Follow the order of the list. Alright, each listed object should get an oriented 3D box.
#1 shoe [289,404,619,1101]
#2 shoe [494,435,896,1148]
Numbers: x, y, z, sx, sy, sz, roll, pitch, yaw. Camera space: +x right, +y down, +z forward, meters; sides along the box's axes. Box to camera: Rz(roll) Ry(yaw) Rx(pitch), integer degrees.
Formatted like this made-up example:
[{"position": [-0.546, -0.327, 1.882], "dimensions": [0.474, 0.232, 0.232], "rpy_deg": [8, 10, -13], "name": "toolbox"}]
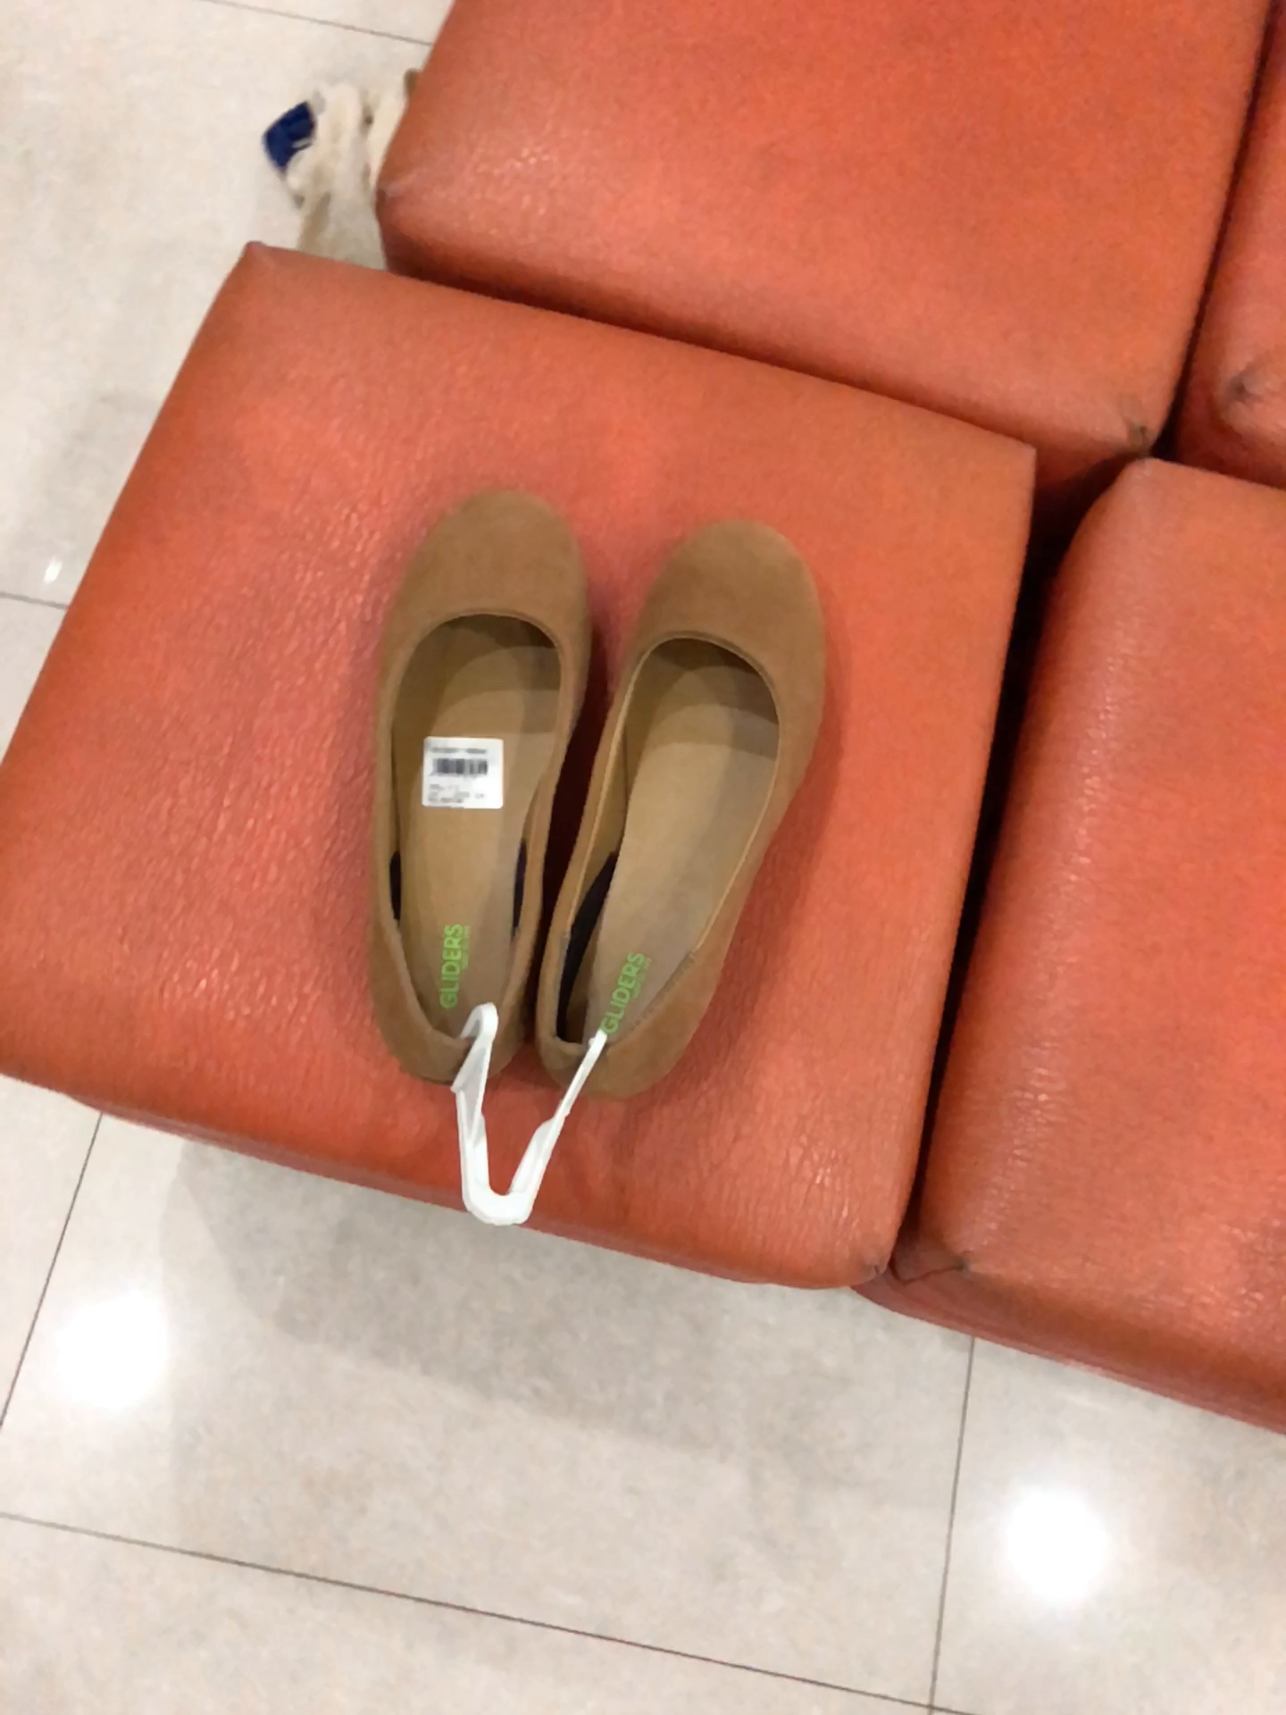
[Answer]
[{"position": [-0.073, -0.048, 0.614], "dimensions": [0.094, 0.071, 0.286], "rpy_deg": [6, 72, 0], "name": "shoe"}, {"position": [0.025, -0.032, 0.614], "dimensions": [0.097, 0.071, 0.286], "rpy_deg": [15, 72, 1], "name": "shoe"}]
